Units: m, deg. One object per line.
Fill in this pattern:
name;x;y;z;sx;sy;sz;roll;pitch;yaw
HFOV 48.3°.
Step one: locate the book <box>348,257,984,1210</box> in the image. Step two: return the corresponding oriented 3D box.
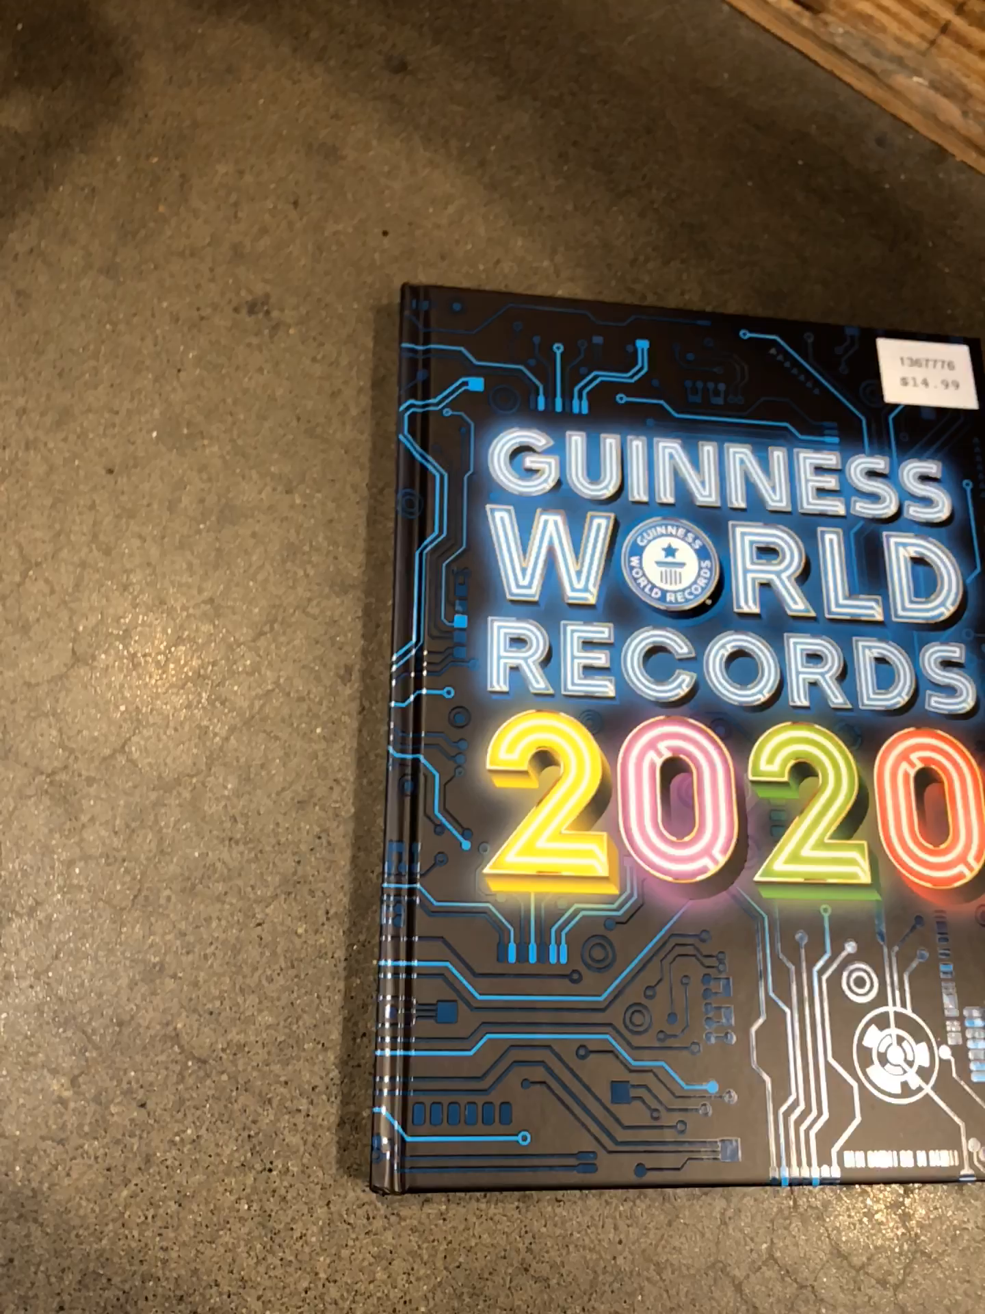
book;0.078;0.014;0.380;0.240;0.030;0.312;3;72;-8
